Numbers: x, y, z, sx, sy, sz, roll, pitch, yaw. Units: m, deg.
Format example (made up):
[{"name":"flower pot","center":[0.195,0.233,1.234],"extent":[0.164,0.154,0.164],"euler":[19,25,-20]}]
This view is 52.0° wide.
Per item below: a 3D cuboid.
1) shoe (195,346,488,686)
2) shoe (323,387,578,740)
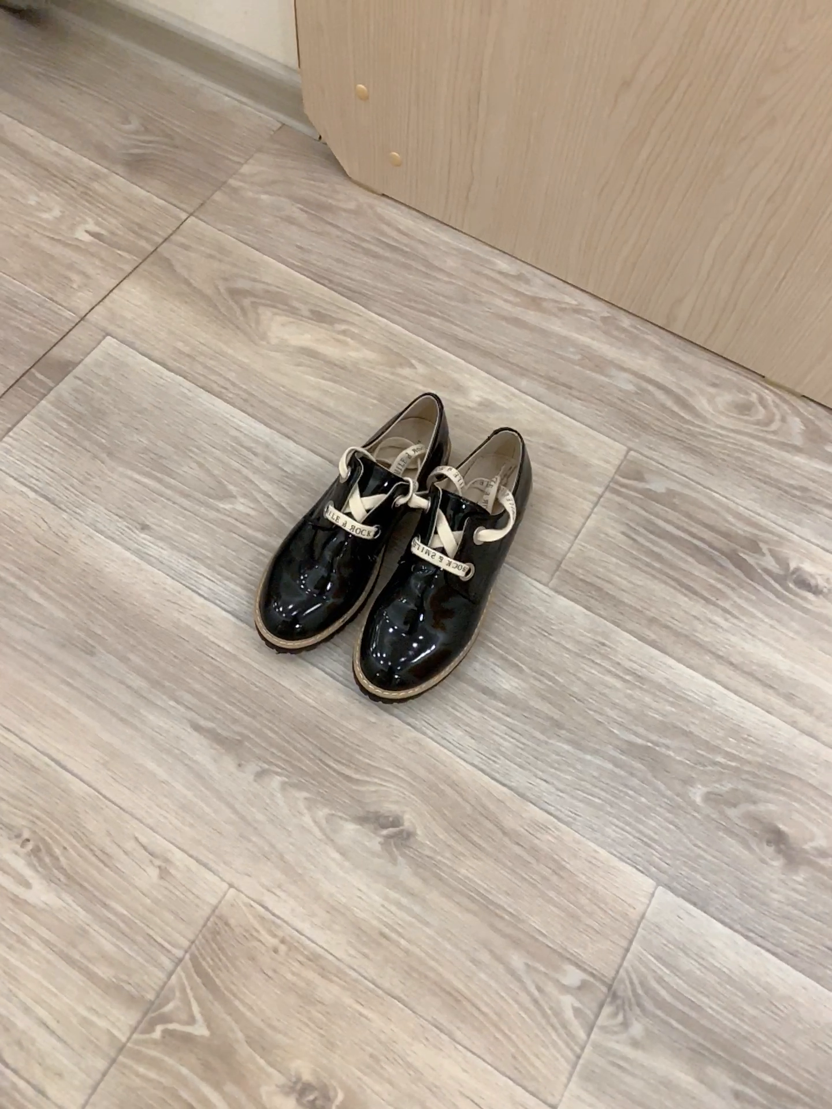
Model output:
[{"name":"shoe","center":[-0.056,-0.037,0.739],"extent":[0.100,0.100,0.270],"euler":[31,67,11]},{"name":"shoe","center":[0.032,0.004,0.729],"extent":[0.100,0.100,0.270],"euler":[25,66,8]}]
